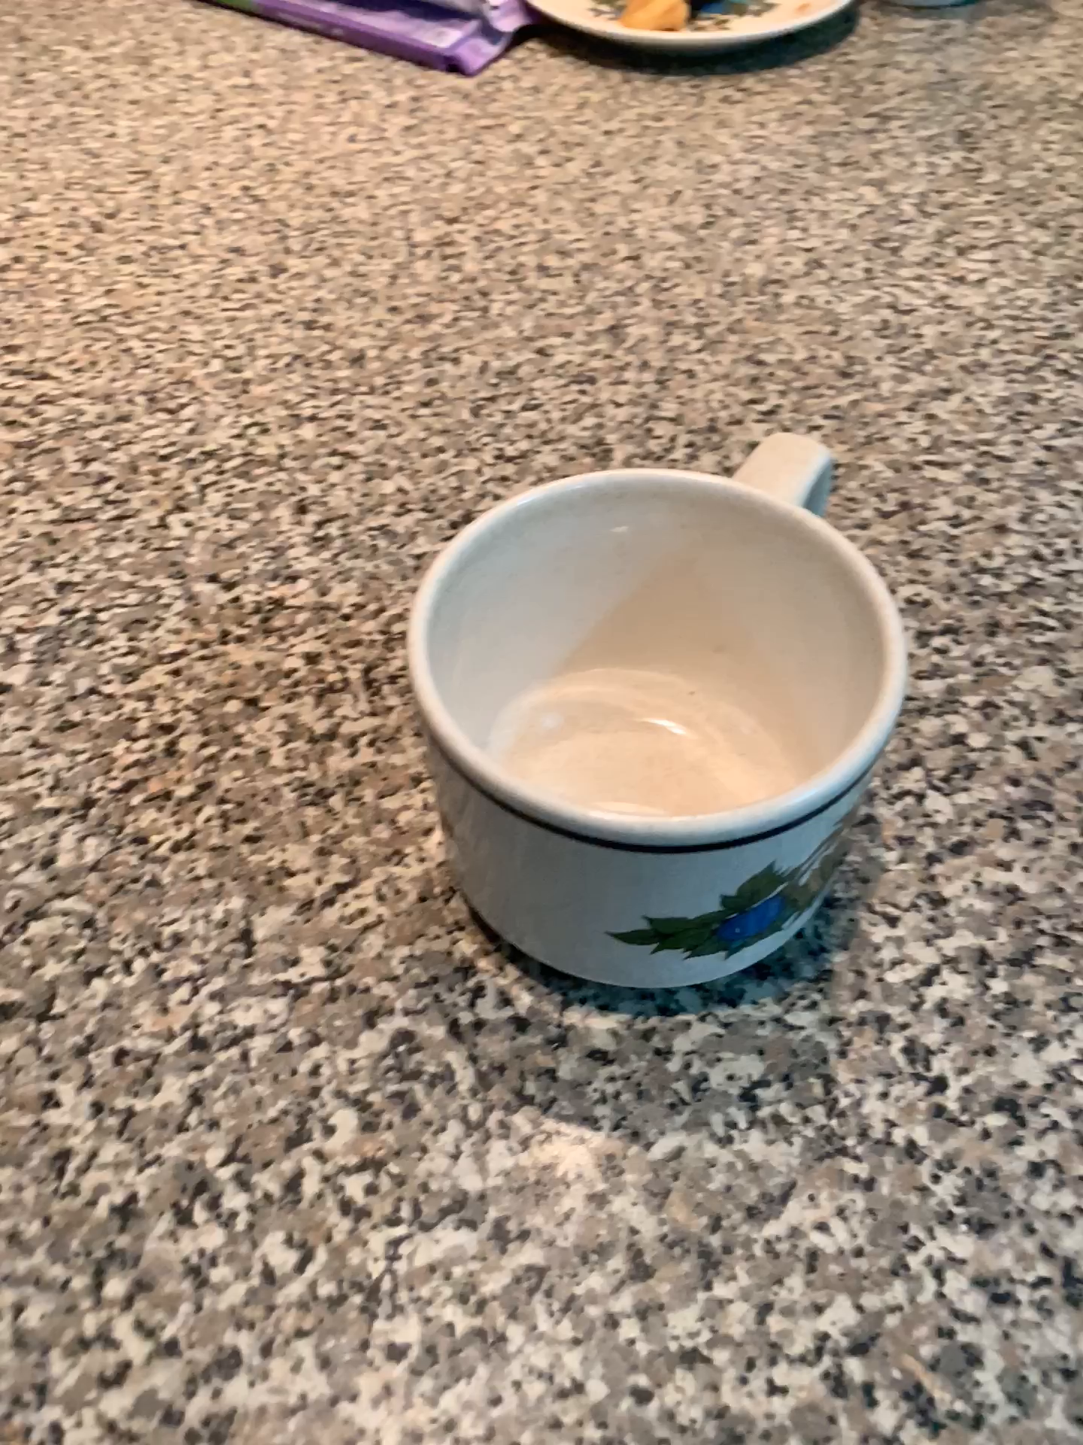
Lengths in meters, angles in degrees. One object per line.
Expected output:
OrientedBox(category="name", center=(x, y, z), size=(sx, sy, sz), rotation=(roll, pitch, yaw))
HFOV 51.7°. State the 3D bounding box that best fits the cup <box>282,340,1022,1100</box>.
OrientedBox(category="cup", center=(0.026, -0.009, 0.215), size=(0.087, 0.054, 0.117), rotation=(23, 55, 18))
